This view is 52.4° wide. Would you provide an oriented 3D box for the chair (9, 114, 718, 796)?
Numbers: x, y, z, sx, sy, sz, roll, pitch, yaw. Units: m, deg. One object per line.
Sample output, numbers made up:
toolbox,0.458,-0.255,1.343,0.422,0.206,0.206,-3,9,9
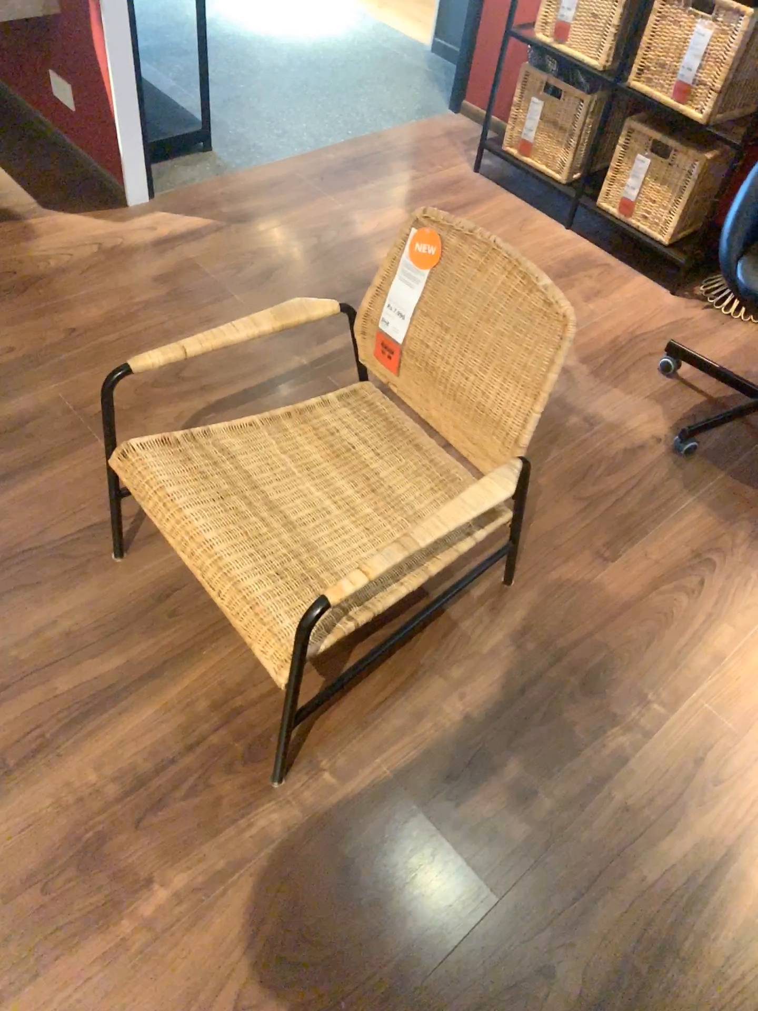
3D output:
chair,-0.055,-0.124,1.429,0.791,0.757,0.711,-29,59,-29
